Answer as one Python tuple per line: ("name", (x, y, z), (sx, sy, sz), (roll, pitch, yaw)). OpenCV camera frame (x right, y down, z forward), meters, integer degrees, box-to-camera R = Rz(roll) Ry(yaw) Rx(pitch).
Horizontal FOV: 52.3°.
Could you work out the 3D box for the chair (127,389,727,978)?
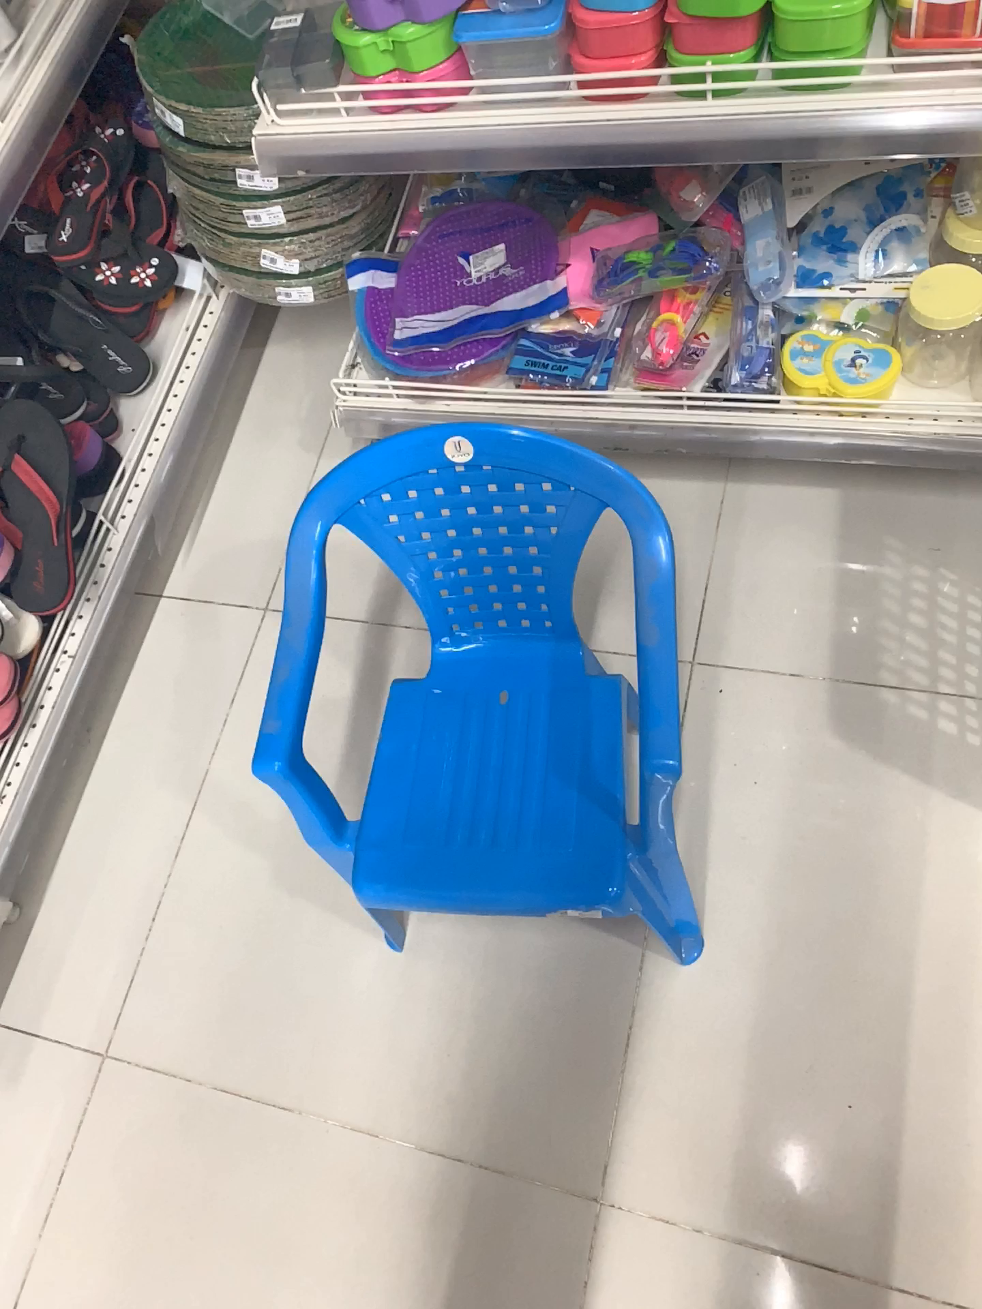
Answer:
("chair", (0.012, 0.073, 0.953), (0.401, 0.509, 0.360), (-1, 65, 15))
